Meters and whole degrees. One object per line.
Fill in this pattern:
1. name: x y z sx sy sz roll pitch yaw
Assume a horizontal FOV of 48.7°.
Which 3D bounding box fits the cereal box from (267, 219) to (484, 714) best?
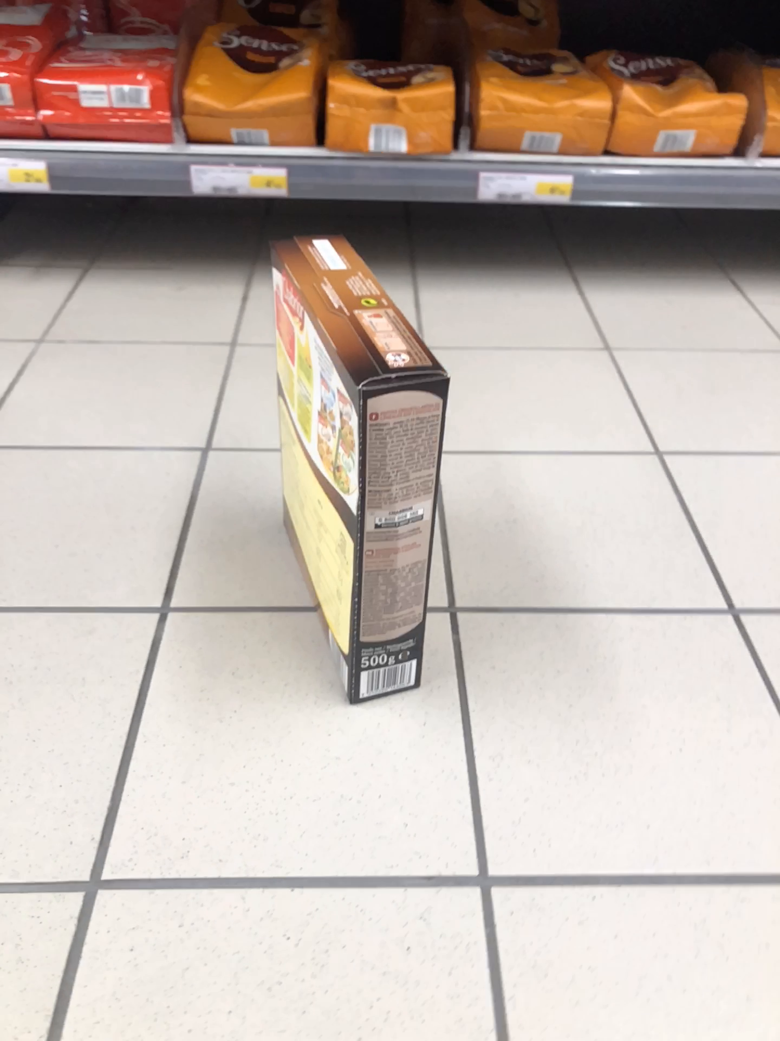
1. cereal box: -0.019 -0.038 0.536 0.060 0.229 0.201 -10 39 -15
